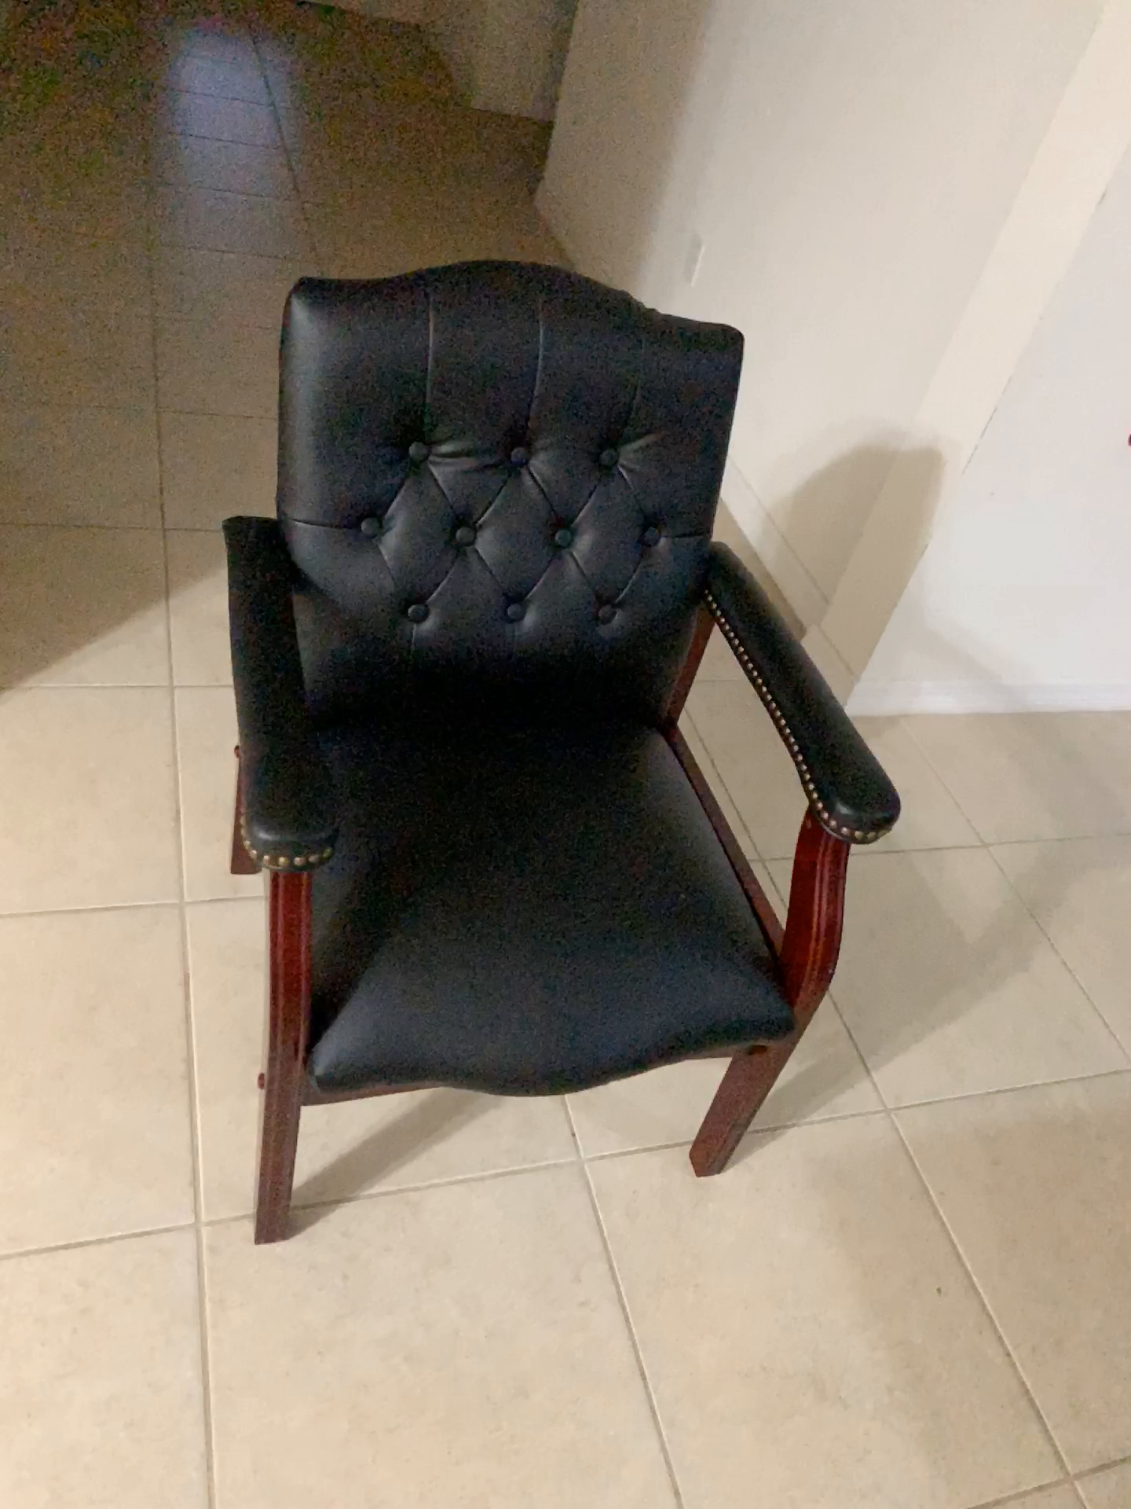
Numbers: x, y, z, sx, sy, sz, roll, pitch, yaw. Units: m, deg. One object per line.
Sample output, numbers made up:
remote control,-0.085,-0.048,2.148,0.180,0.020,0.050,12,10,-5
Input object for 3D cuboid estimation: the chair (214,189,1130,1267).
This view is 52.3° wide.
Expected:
chair,-0.043,-0.001,1.302,0.633,0.908,0.659,-1,44,-20
